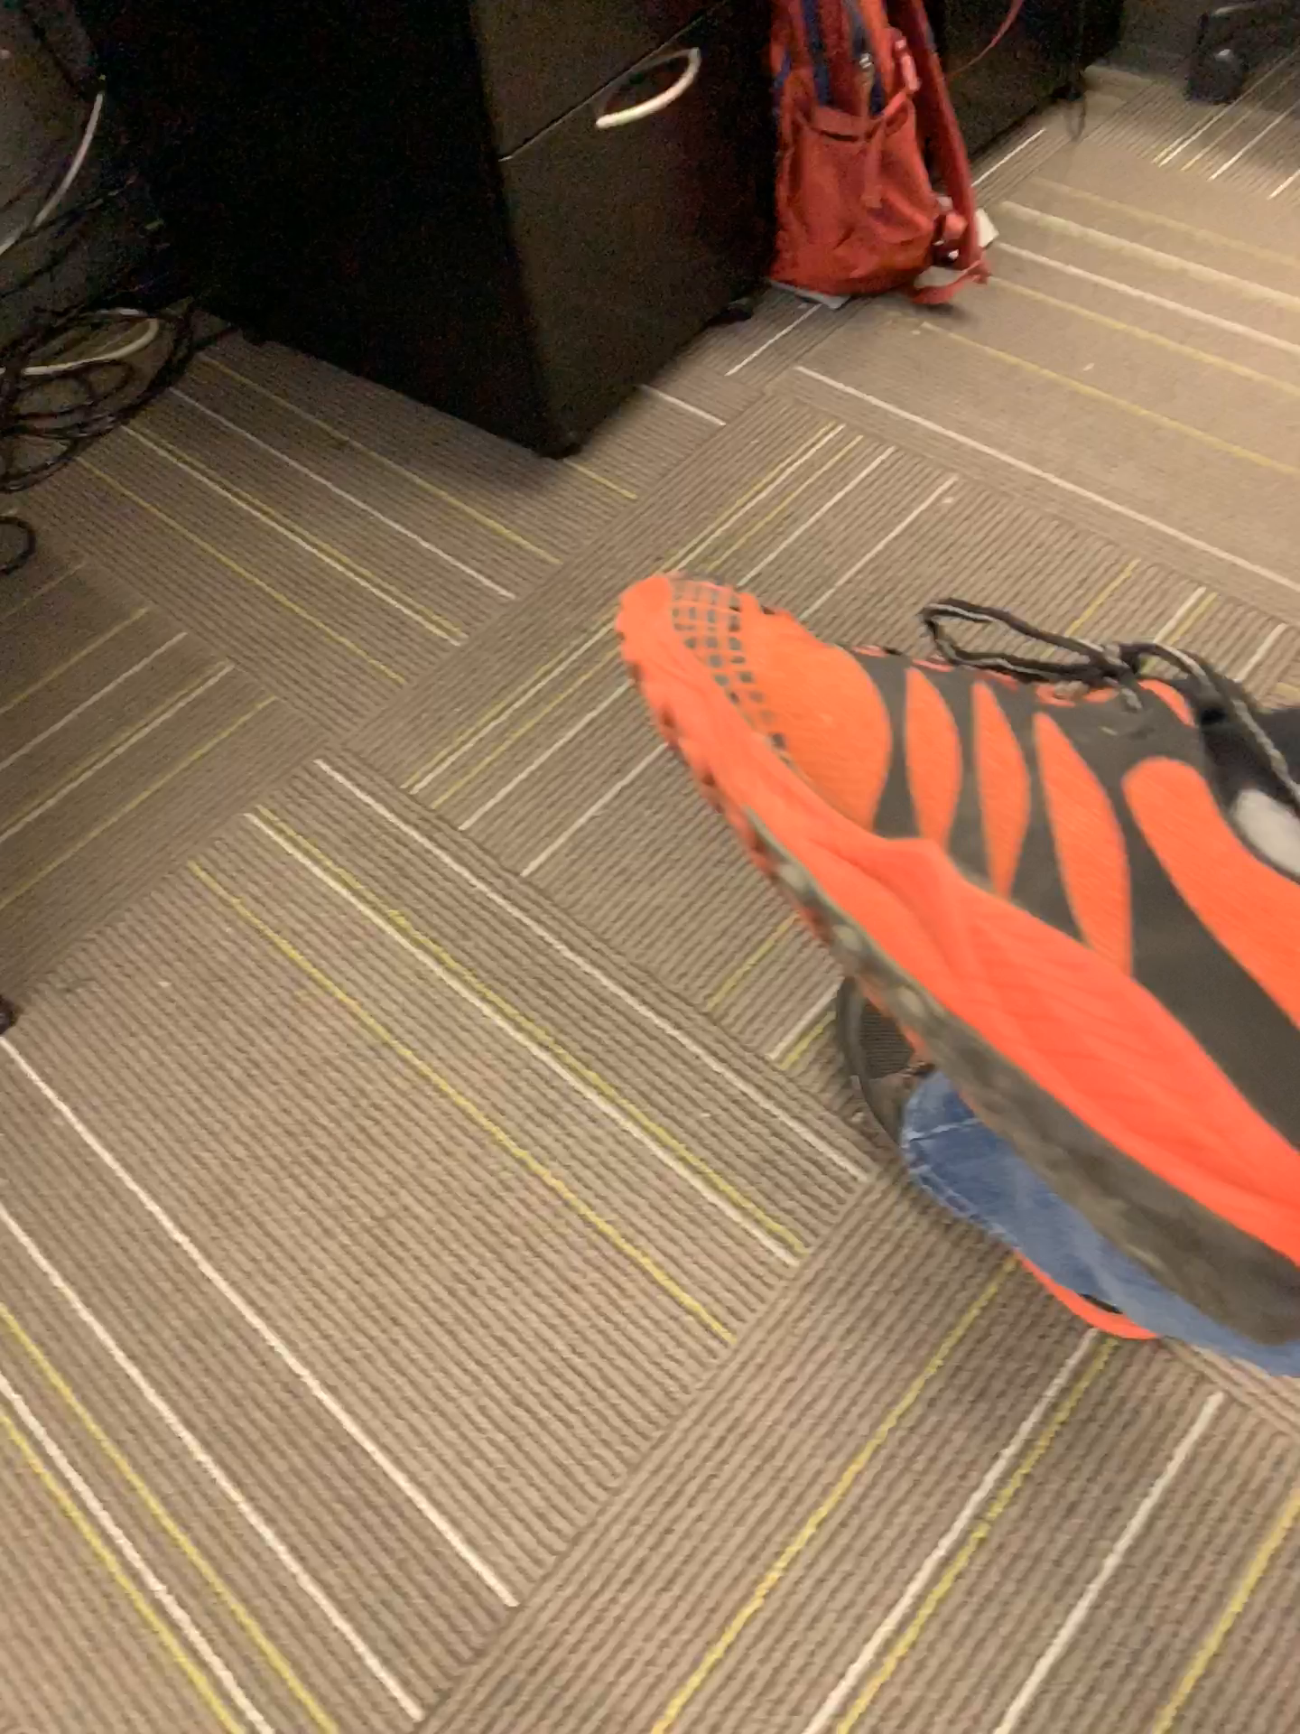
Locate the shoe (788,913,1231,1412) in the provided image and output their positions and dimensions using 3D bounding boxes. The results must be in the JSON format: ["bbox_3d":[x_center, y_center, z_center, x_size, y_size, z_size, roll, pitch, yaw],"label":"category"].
[{"bbox_3d":[0.229,0.188,0.910,0.117,0.067,0.320,-24,55,-14],"label":"shoe"}]

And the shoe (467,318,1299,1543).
[{"bbox_3d":[0.102,-0.008,0.378,0.146,0.110,0.322,-35,55,-9],"label":"shoe"}]
